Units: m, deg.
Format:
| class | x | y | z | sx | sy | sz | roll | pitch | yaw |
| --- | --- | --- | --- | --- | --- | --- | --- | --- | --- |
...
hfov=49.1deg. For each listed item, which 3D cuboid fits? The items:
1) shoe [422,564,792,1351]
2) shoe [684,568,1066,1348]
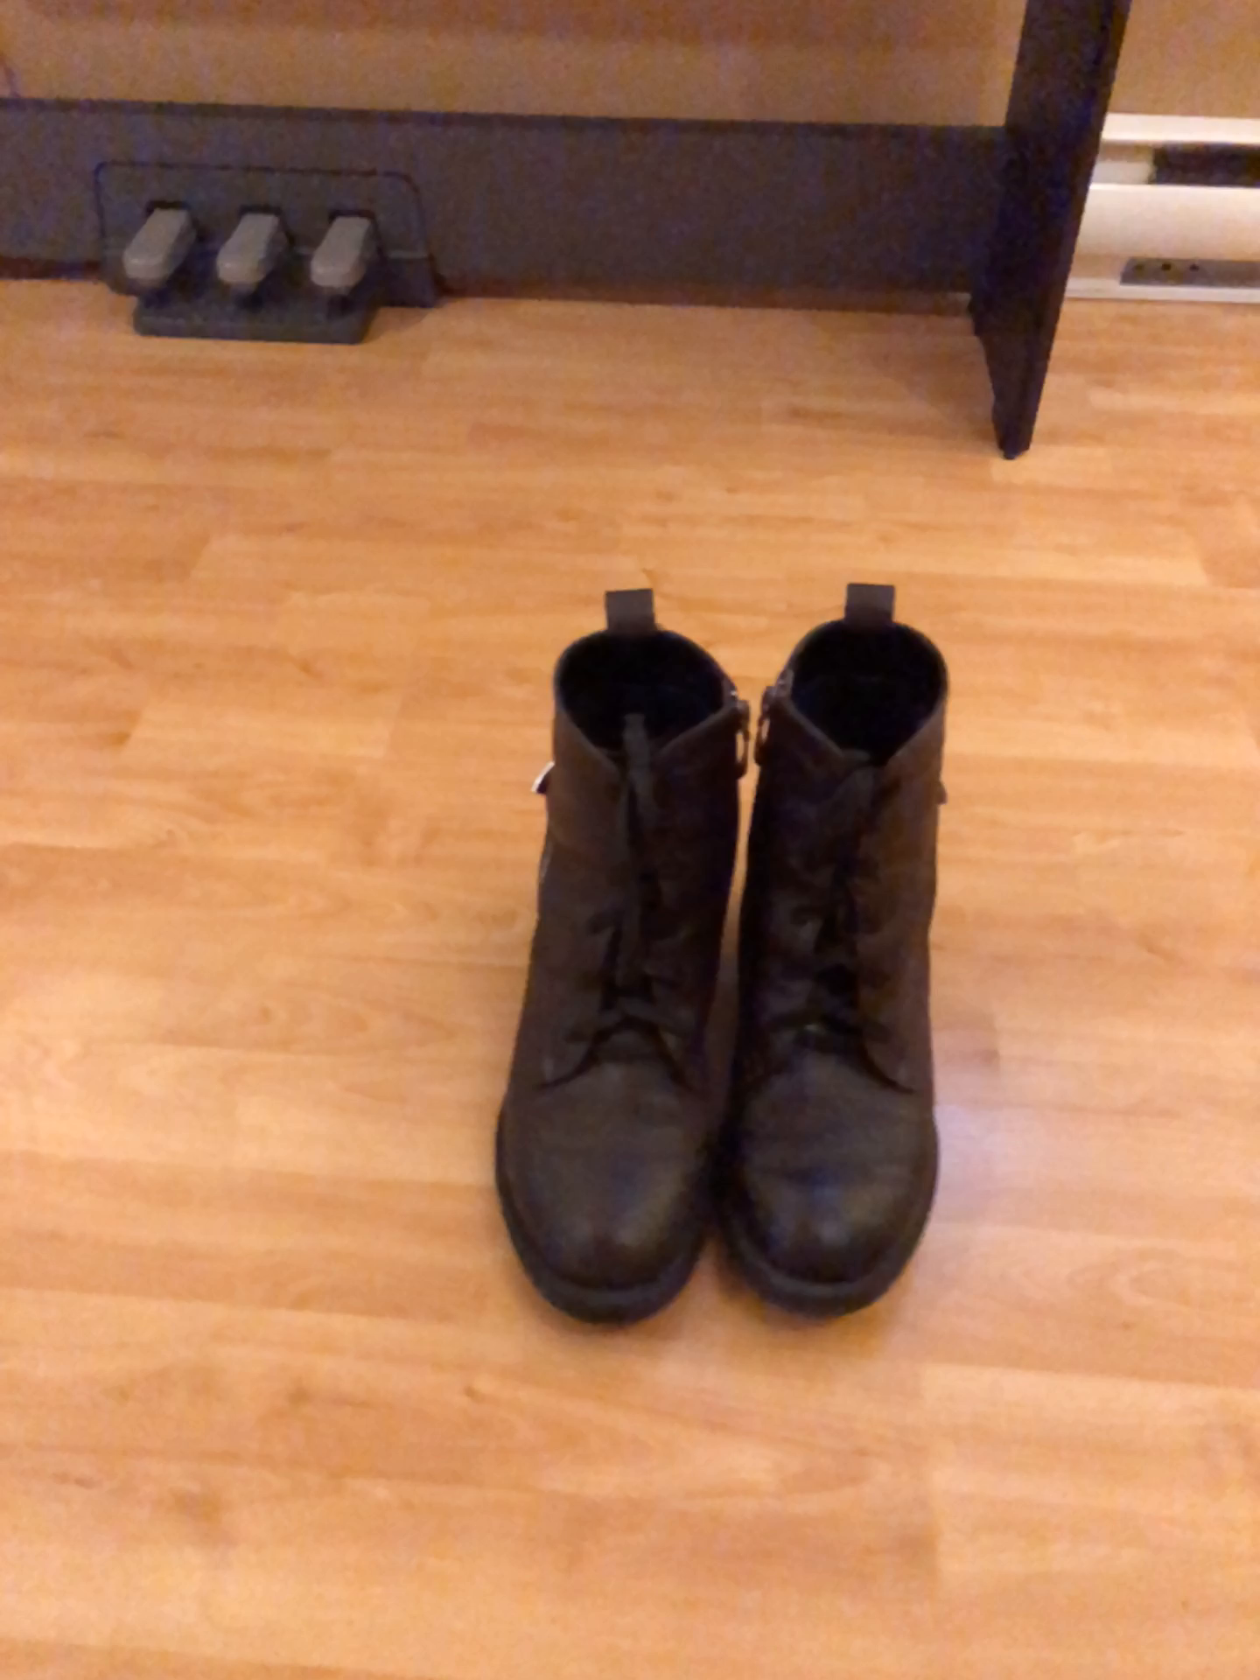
| class | x | y | z | sx | sy | sz | roll | pitch | yaw |
| --- | --- | --- | --- | --- | --- | --- | --- | --- | --- |
| shoe | -0.005 | 0.038 | 0.570 | 0.110 | 0.179 | 0.271 | 1 | 44 | 0 |
| shoe | 0.086 | 0.039 | 0.581 | 0.110 | 0.179 | 0.271 | 3 | 44 | 3 |
